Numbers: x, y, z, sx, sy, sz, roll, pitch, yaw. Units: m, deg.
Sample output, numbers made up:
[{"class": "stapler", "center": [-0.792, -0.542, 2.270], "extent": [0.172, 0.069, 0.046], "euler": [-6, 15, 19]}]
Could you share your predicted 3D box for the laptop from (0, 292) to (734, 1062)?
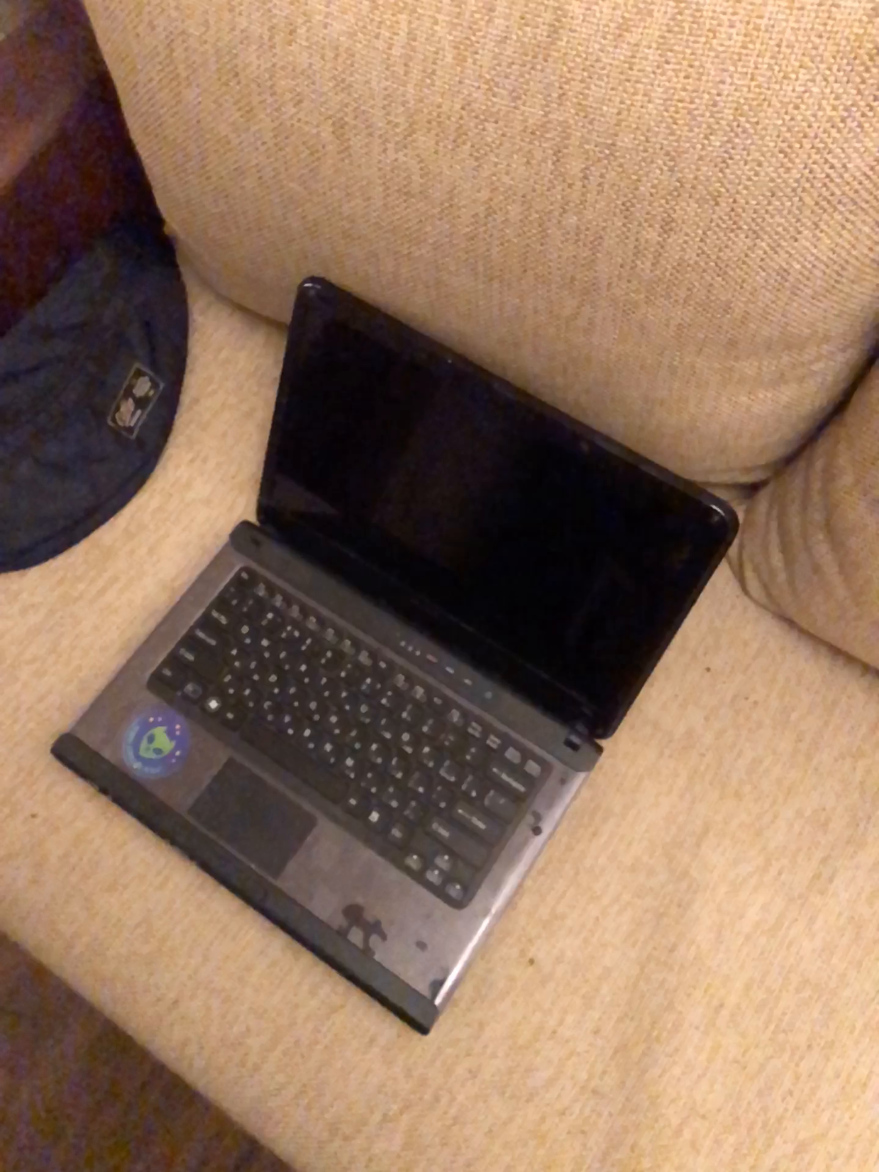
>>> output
[{"class": "laptop", "center": [-0.054, 0.047, 0.664], "extent": [0.338, 0.175, 0.349], "euler": [32, 72, 13]}]
